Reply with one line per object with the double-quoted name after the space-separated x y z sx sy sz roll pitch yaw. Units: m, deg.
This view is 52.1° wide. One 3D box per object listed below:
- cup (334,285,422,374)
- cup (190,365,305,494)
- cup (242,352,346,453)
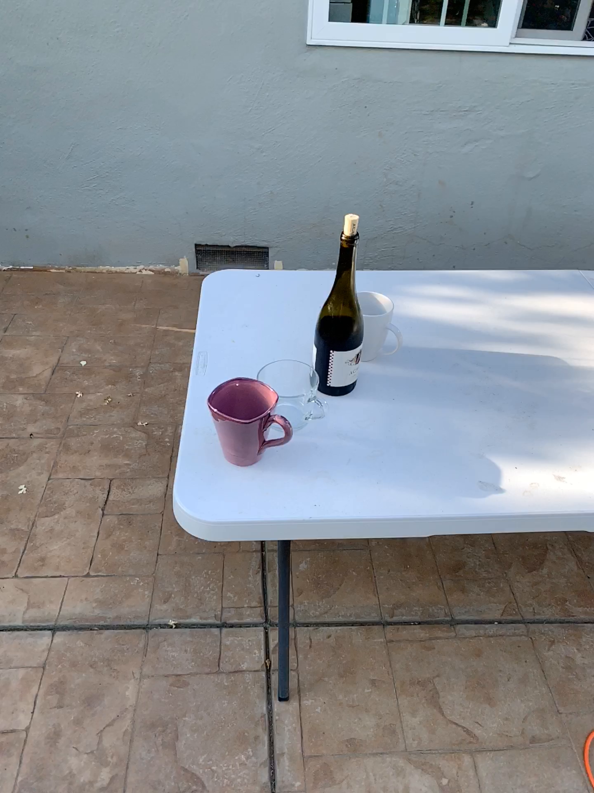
0.146 -0.124 1.110 0.120 0.099 0.090 28 44 29 "cup"
-0.073 0.046 0.900 0.130 0.109 0.100 28 44 29 "cup"
-0.007 0.007 0.983 0.130 0.079 0.100 28 44 29 "cup"
